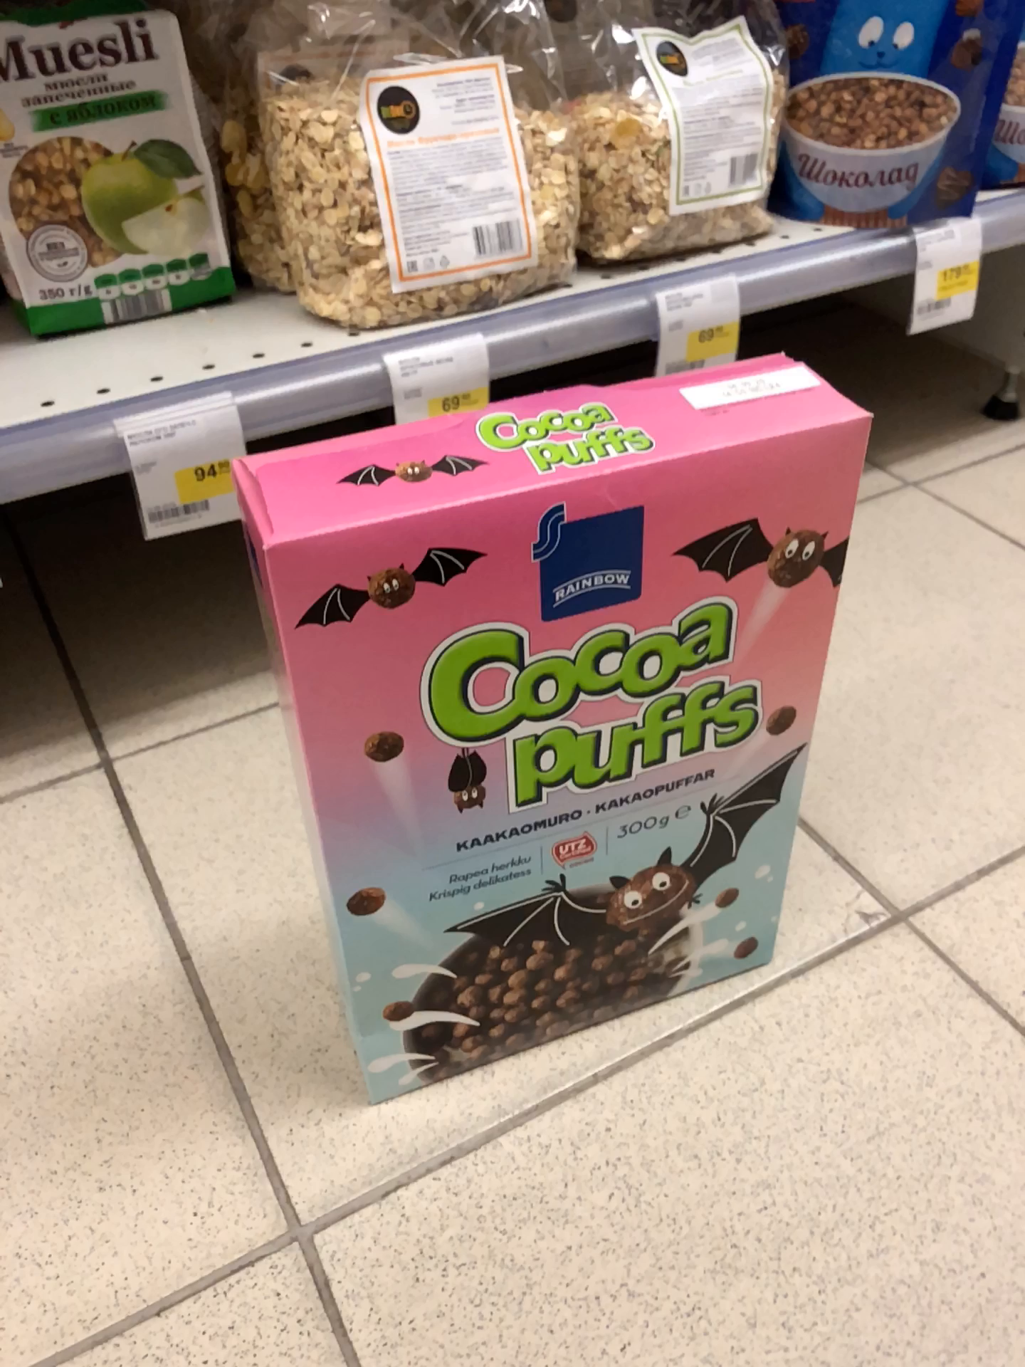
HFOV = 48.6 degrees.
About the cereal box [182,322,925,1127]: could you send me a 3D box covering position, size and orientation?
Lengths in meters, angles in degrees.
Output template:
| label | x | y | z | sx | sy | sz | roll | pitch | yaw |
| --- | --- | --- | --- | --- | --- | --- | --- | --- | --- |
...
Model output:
| label | x | y | z | sx | sy | sz | roll | pitch | yaw |
| --- | --- | --- | --- | --- | --- | --- | --- | --- | --- |
| cereal box | 0.017 | 0.027 | 0.415 | 0.210 | 0.268 | 0.060 | -15 | 40 | -16 |
